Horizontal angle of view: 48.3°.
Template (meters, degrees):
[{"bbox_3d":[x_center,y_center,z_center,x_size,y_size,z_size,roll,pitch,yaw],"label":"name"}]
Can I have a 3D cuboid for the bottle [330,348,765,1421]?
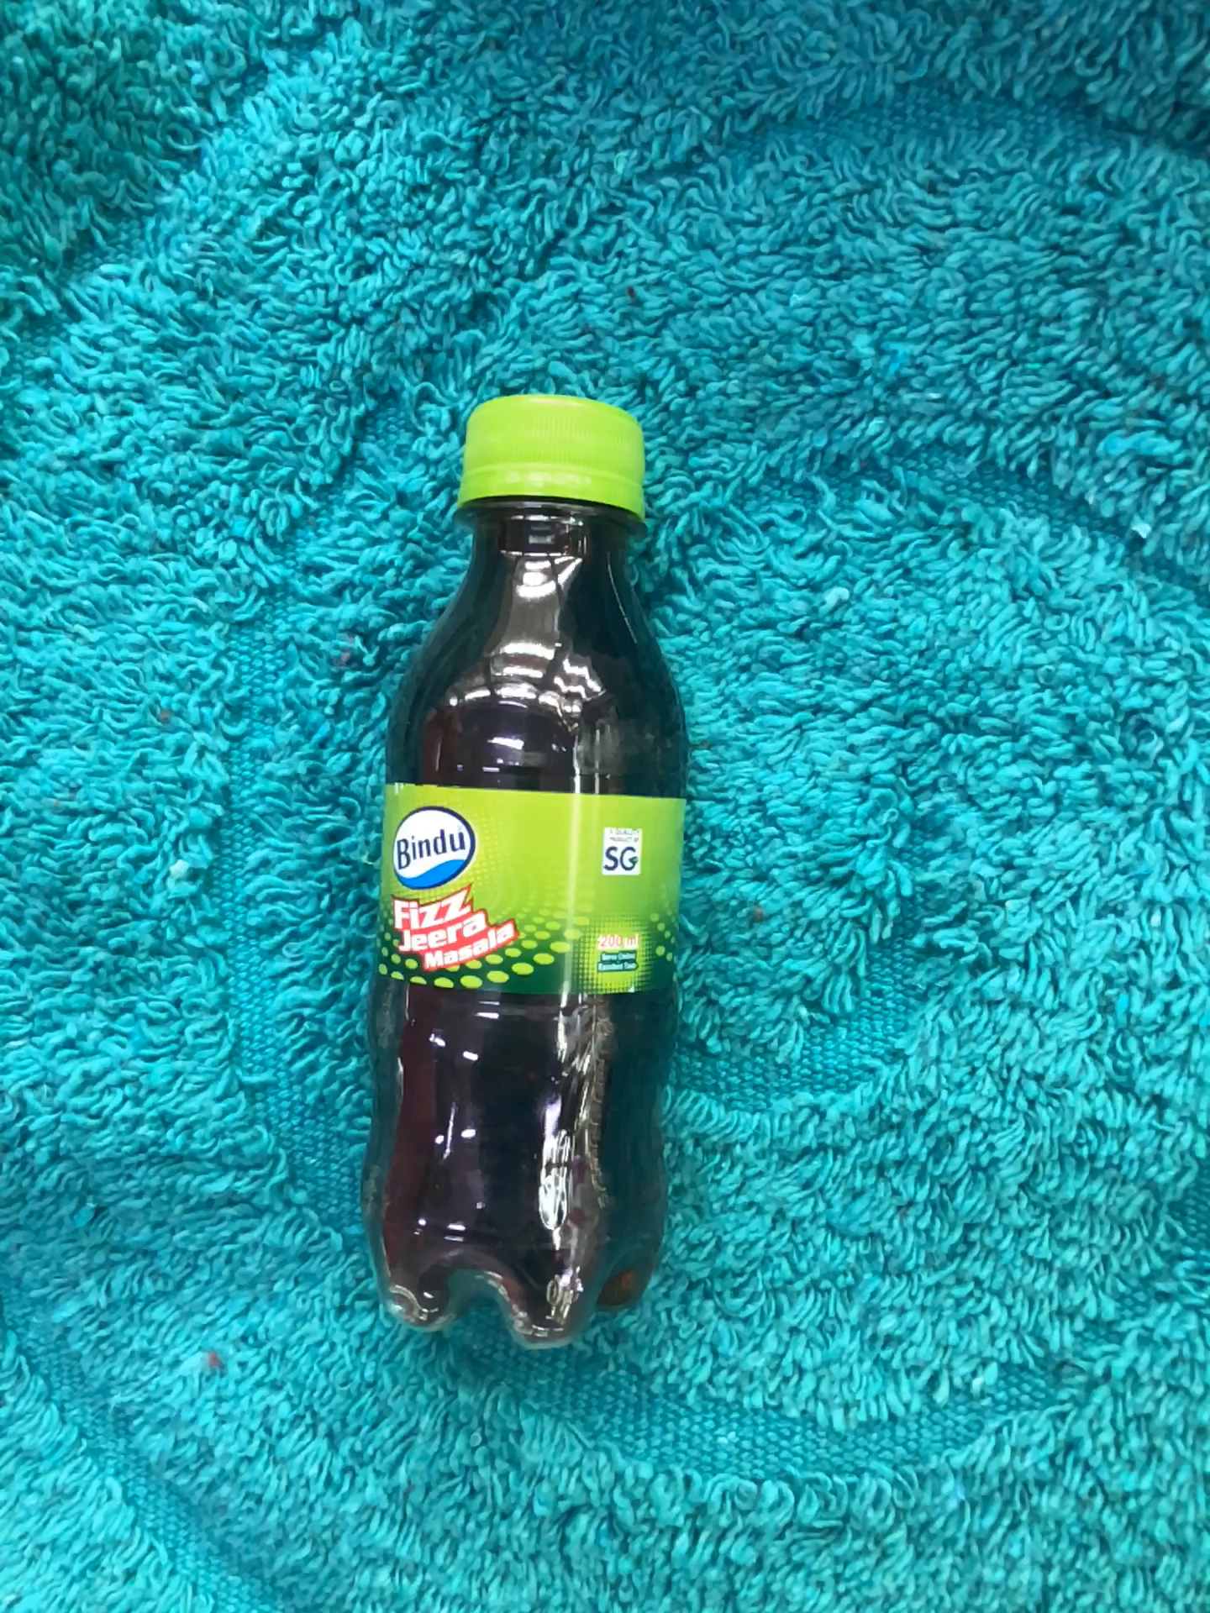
[{"bbox_3d":[-0.008,0.010,0.219,0.050,0.050,0.150,4,95,20],"label":"bottle"}]
